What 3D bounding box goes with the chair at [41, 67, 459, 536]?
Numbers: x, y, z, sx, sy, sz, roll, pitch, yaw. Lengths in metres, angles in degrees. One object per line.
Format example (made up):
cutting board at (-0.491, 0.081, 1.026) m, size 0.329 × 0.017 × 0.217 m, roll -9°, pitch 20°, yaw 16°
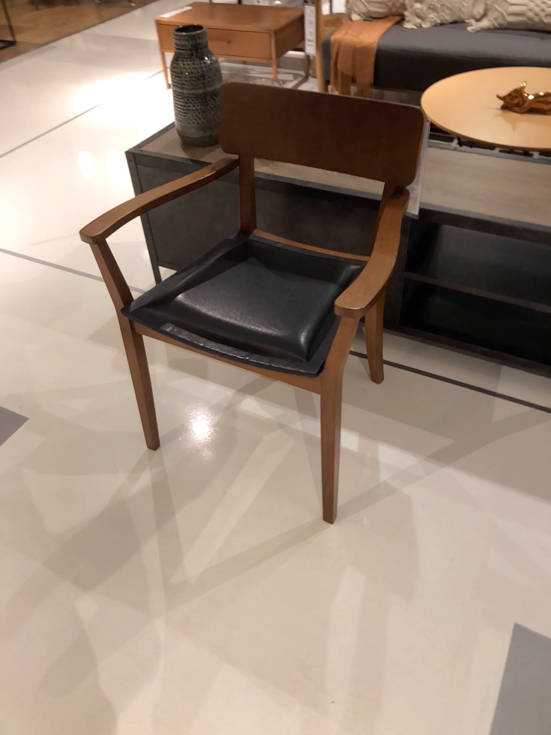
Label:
chair at (-0.001, -0.164, 1.361) m, size 0.561 × 0.744 × 0.573 m, roll 18°, pitch 47°, yaw 22°
